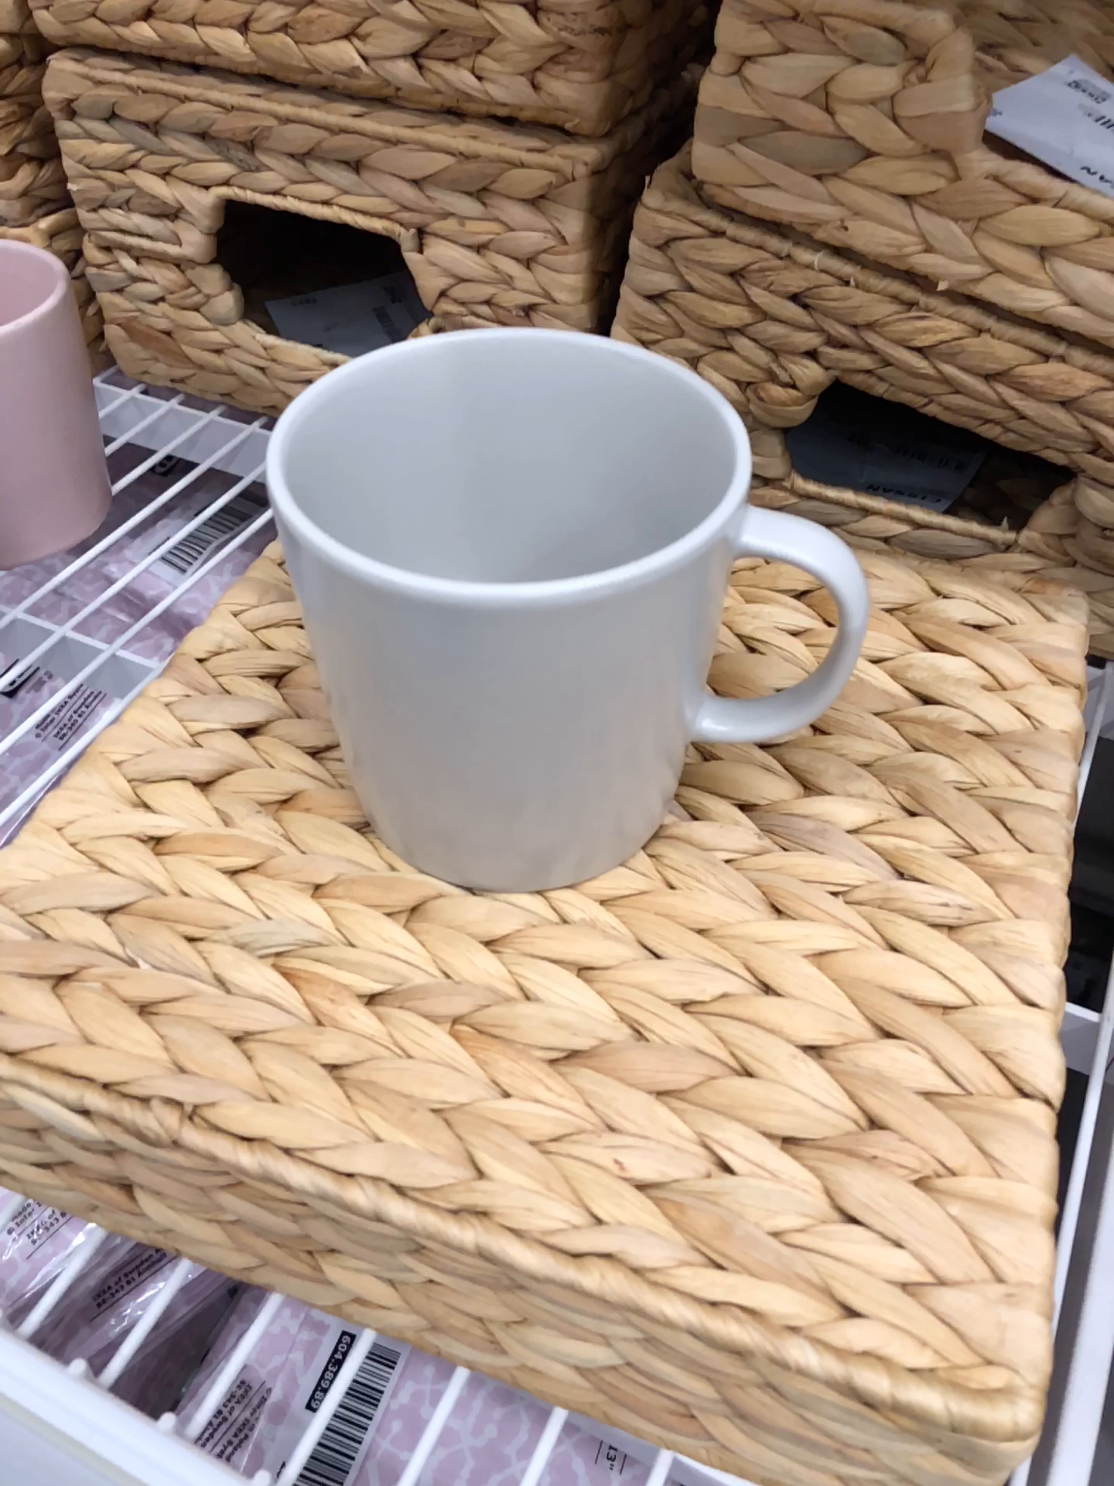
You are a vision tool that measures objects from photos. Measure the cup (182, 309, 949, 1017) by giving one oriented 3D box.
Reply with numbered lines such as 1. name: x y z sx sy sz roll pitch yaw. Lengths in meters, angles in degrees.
1. cup: 0.007 -0.021 0.259 0.120 0.090 0.090 13 45 13
